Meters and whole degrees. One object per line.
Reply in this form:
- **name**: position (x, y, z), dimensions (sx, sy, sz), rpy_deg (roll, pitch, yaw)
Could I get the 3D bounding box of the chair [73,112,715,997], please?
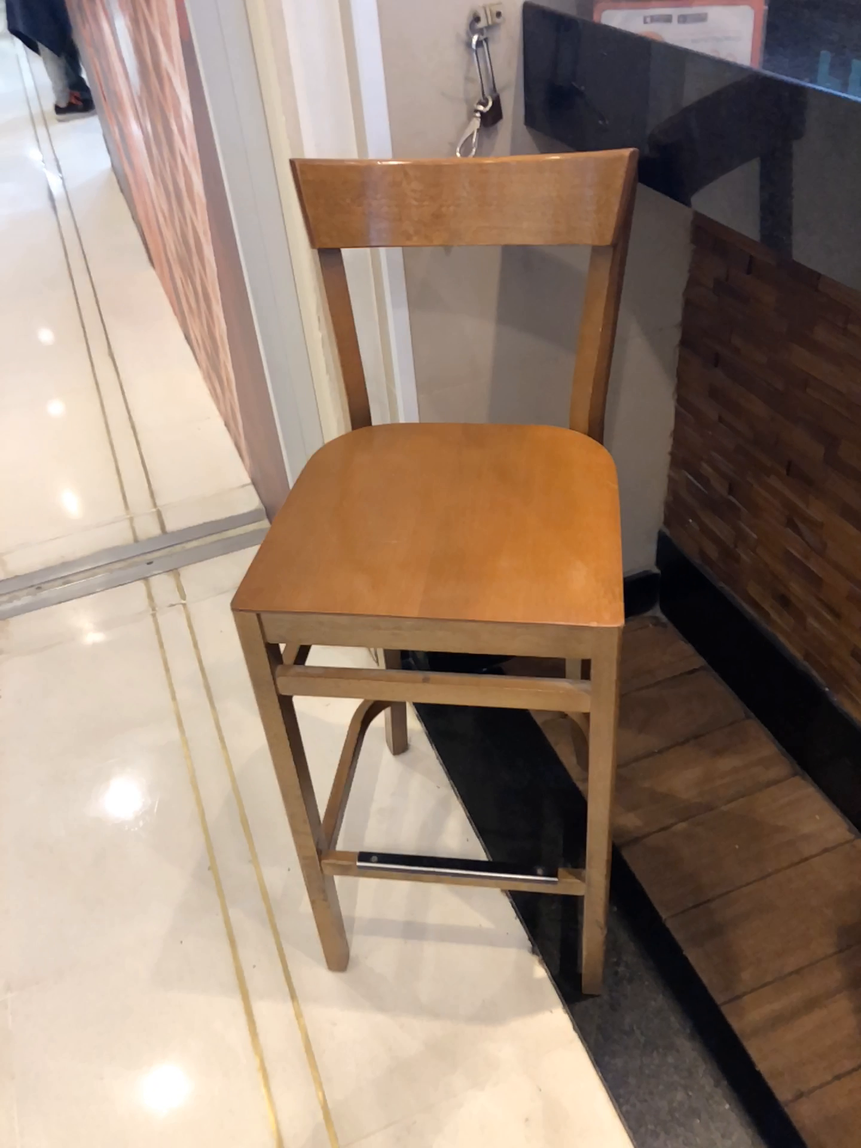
- **chair**: position (0.029, 0.025, 1.212), dimensions (0.480, 0.993, 0.534), rpy_deg (1, 40, 8)
